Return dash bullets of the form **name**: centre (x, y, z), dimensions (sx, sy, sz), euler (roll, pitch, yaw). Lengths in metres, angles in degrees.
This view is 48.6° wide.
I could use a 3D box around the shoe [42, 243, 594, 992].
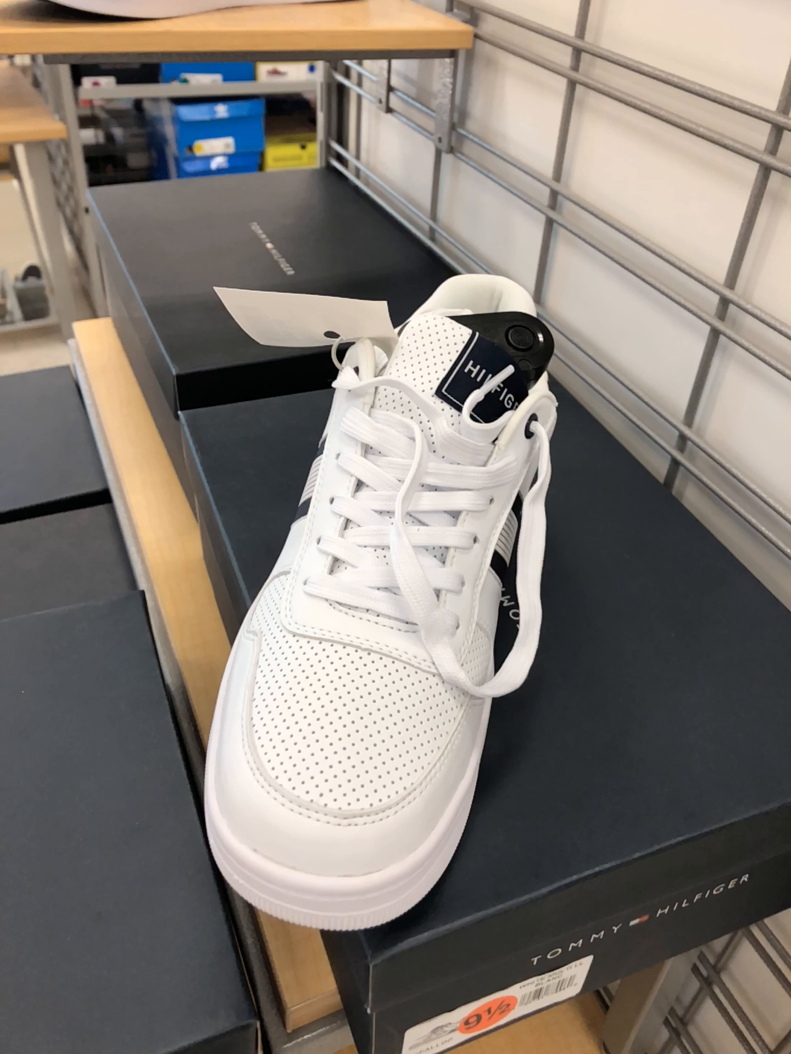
- **shoe**: centre (0.001, 0.000, 0.342), dimensions (0.110, 0.109, 0.282), euler (12, 39, 9)
